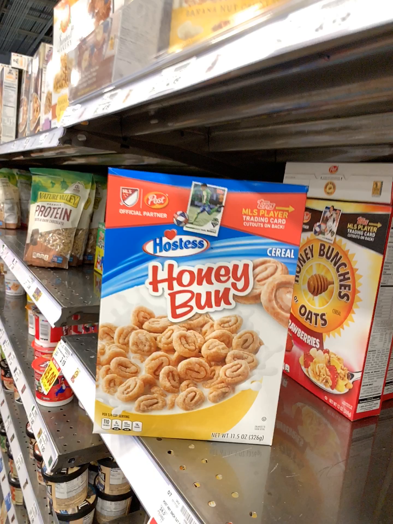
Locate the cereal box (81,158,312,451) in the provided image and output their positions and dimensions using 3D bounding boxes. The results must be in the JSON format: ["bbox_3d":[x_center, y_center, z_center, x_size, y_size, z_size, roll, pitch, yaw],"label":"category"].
[{"bbox_3d":[-0.005,0.046,0.429,0.200,0.279,0.060,5,9,-2],"label":"cereal box"}]
